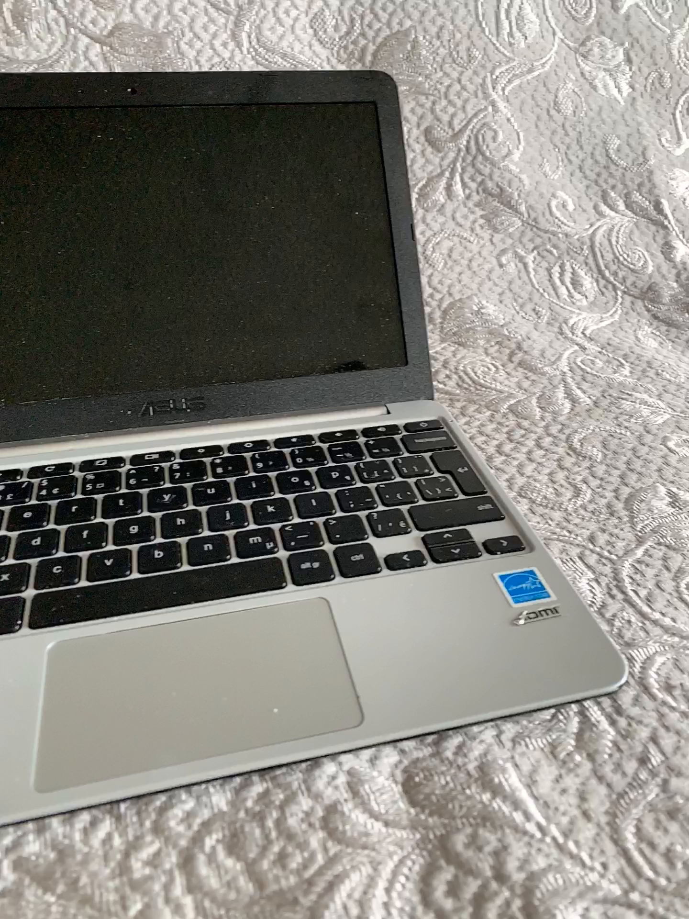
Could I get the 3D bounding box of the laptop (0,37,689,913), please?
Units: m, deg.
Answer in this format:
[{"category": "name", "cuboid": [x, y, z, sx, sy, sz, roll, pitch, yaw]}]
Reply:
[{"category": "laptop", "cuboid": [-0.072, -0.050, 0.285, 0.288, 0.127, 0.288, -7, 42, -20]}]
